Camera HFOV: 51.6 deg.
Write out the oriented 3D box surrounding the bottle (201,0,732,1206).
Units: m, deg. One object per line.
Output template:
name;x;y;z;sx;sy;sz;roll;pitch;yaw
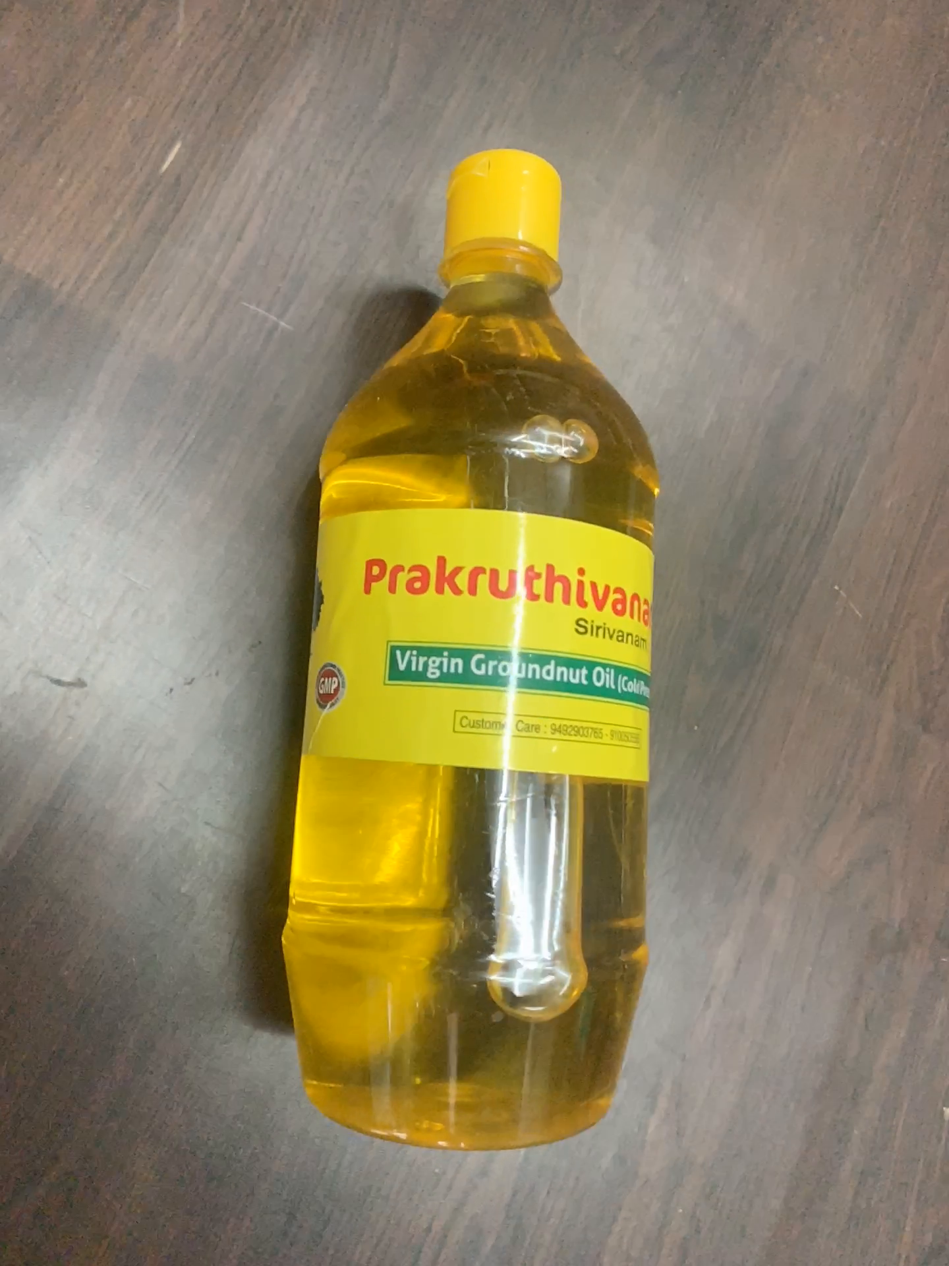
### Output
bottle;-0.002;-0.022;0.240;0.090;0.080;0.260;7;82;-26
